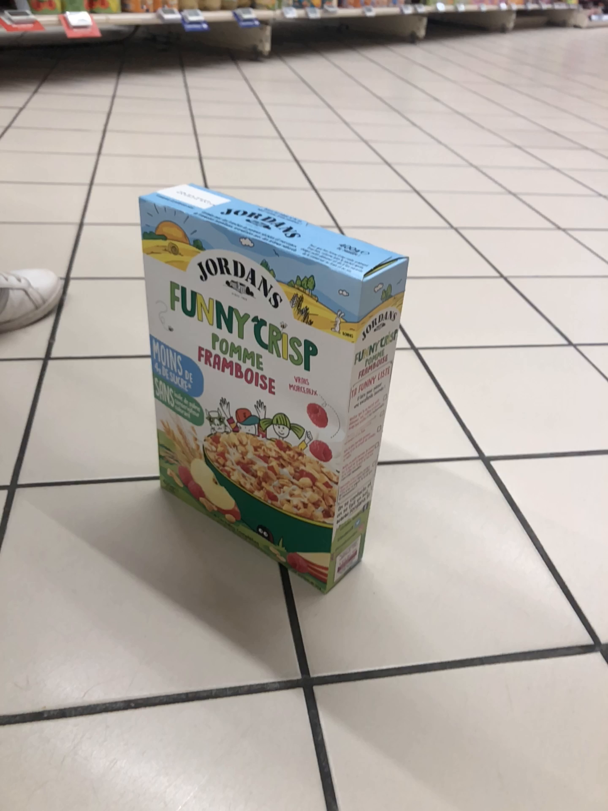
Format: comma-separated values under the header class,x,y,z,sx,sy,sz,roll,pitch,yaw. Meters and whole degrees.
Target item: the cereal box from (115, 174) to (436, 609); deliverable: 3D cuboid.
class,x,y,z,sx,sy,sz,roll,pitch,yaw
cereal box,-0.029,-0.011,0.445,0.180,0.229,0.070,26,39,28
